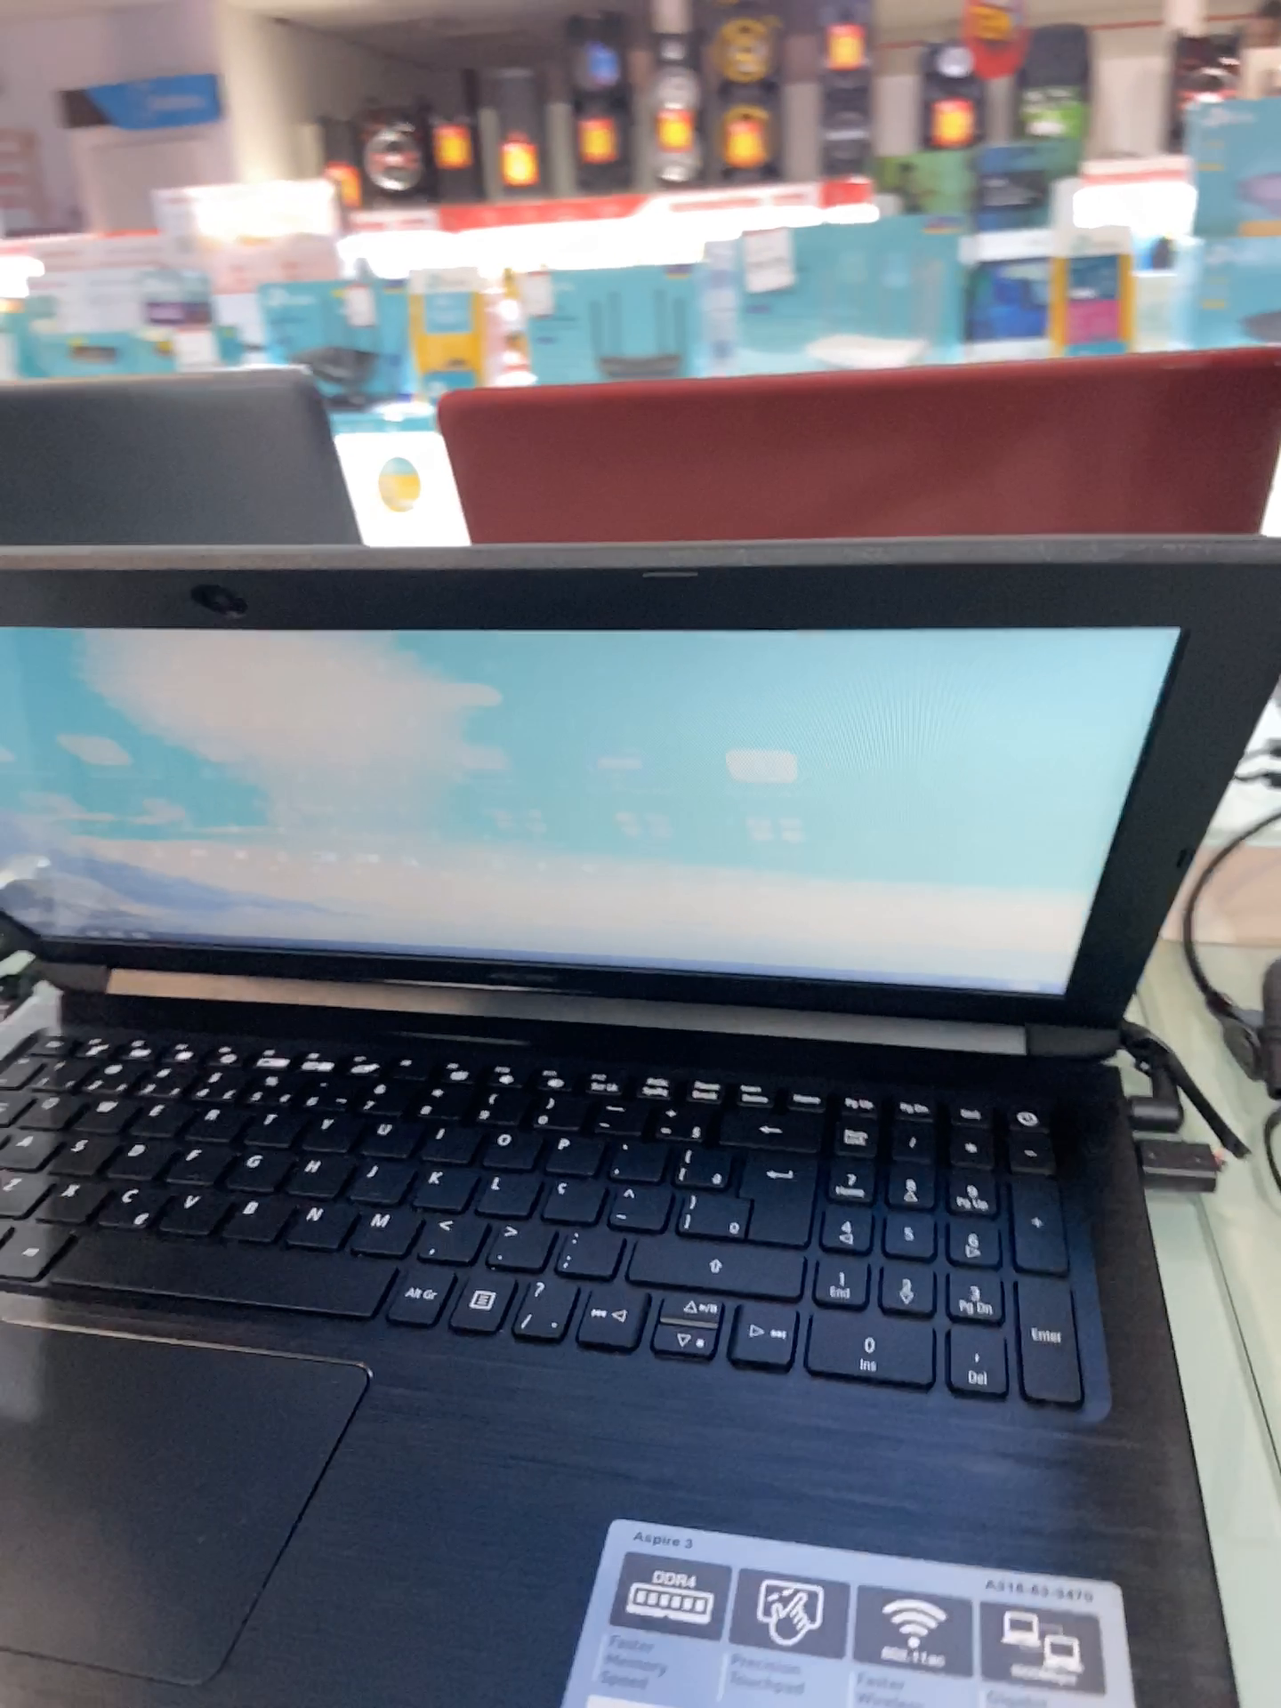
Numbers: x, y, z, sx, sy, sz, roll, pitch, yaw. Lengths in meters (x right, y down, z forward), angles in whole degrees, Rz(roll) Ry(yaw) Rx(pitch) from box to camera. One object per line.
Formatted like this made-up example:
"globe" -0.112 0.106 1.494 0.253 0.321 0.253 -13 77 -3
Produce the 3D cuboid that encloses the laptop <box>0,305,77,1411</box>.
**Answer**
"laptop" -0.484 -0.040 0.456 0.395 0.233 0.303 1 24 14

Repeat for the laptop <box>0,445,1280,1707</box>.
"laptop" -0.071 0.026 0.305 0.373 0.186 0.235 2 24 13
